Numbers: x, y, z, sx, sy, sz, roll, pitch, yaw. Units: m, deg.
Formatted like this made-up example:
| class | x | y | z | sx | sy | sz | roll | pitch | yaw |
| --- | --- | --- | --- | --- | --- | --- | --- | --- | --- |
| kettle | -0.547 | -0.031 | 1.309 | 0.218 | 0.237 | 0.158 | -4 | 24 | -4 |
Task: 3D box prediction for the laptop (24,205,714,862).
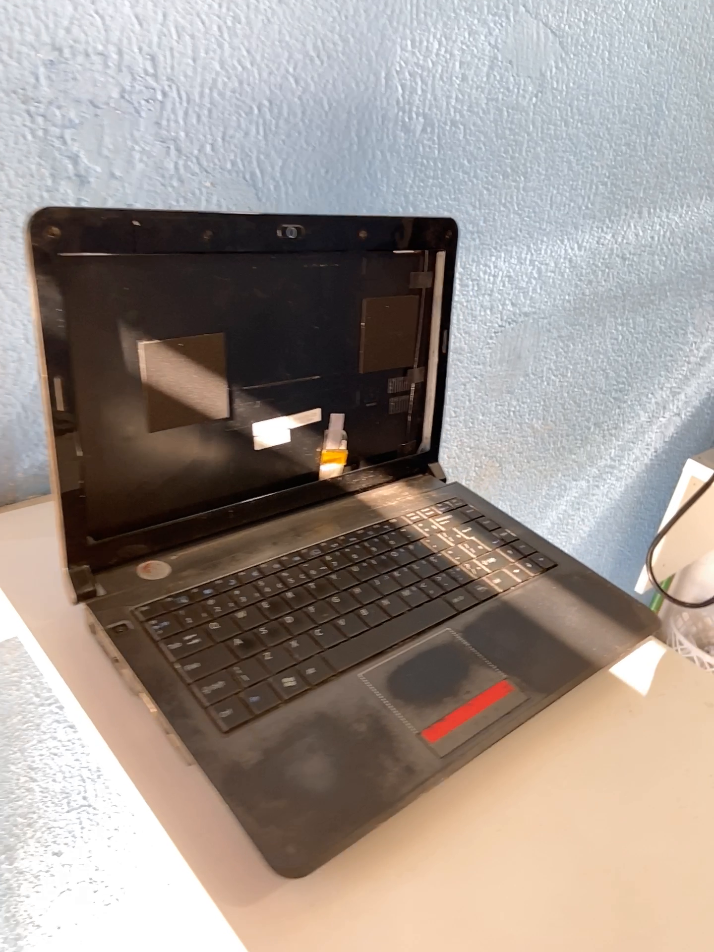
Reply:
| class | x | y | z | sx | sy | sz | roll | pitch | yaw |
| --- | --- | --- | --- | --- | --- | --- | --- | --- | --- |
| laptop | 0.020 | -0.019 | 0.468 | 0.335 | 0.216 | 0.276 | -15 | 38 | -40 |
